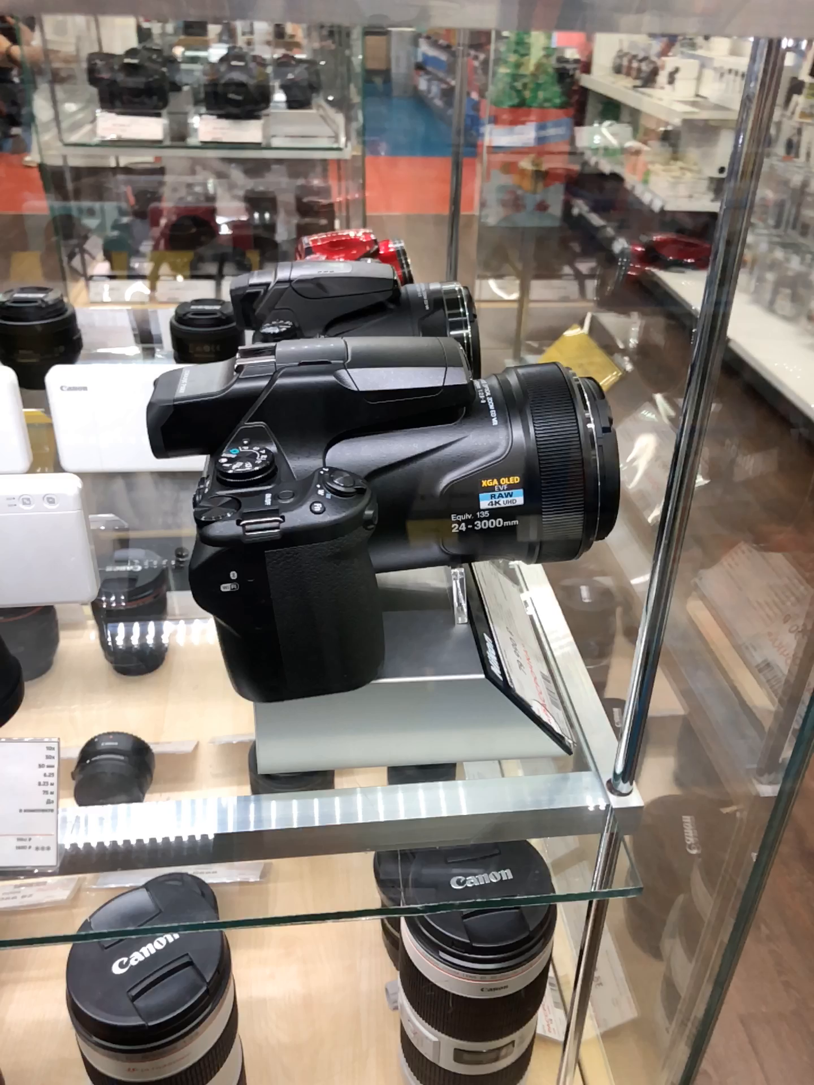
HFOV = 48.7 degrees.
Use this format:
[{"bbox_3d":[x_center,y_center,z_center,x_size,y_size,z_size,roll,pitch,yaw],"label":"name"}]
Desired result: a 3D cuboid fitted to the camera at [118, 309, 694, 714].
[{"bbox_3d":[-0.007,-0.025,0.408,0.200,0.113,0.161,-2,32,-6],"label":"camera"}]
